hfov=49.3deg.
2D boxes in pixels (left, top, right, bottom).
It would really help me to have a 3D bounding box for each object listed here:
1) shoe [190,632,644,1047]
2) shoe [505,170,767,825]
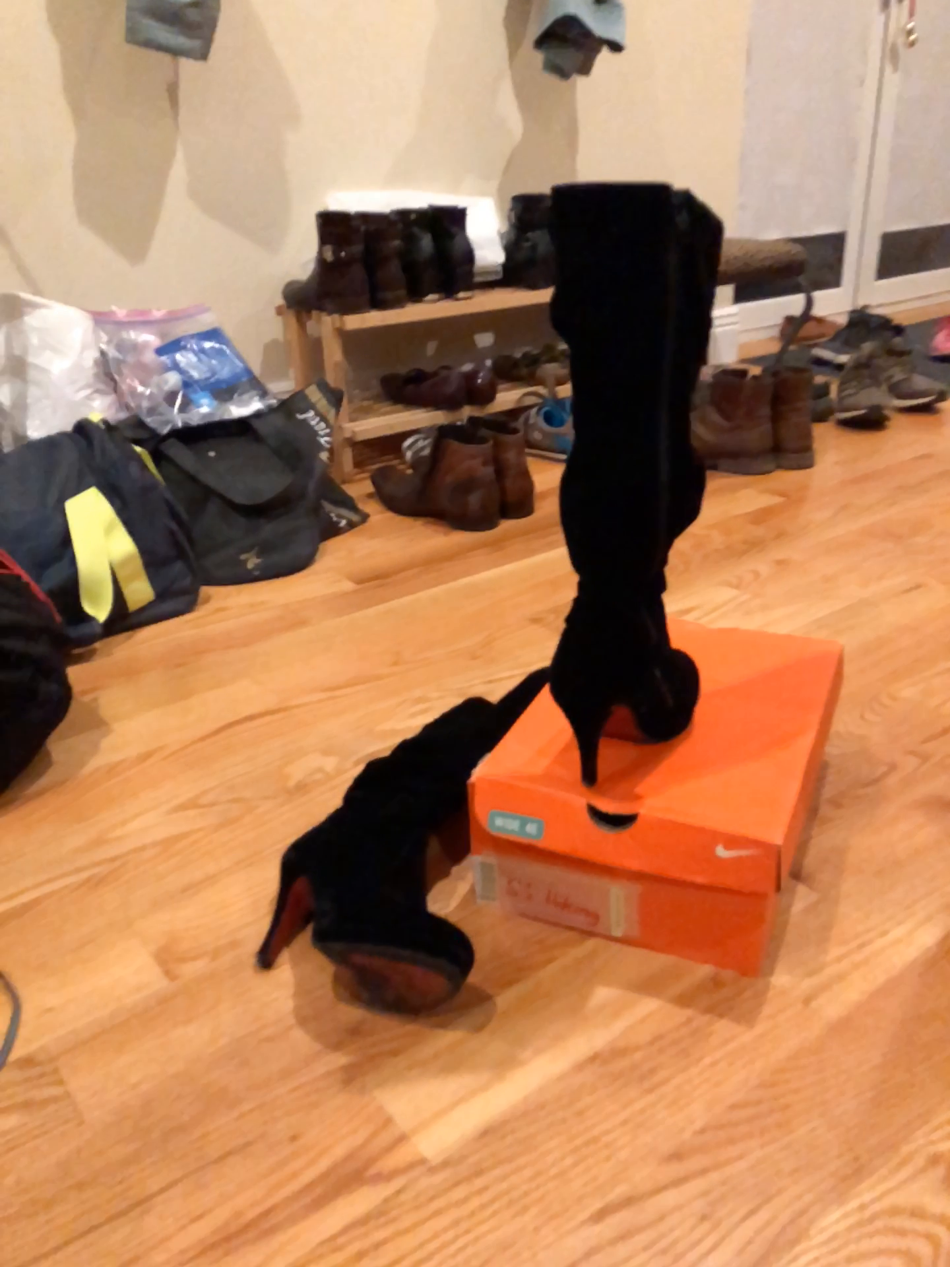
[{"bbox_3d":[-0.016,0.130,0.844,0.206,0.089,0.401,7,26,23],"label":"shoe"},{"bbox_3d":[0.115,-0.101,0.722,0.089,0.397,0.217,11,28,27],"label":"shoe"}]
